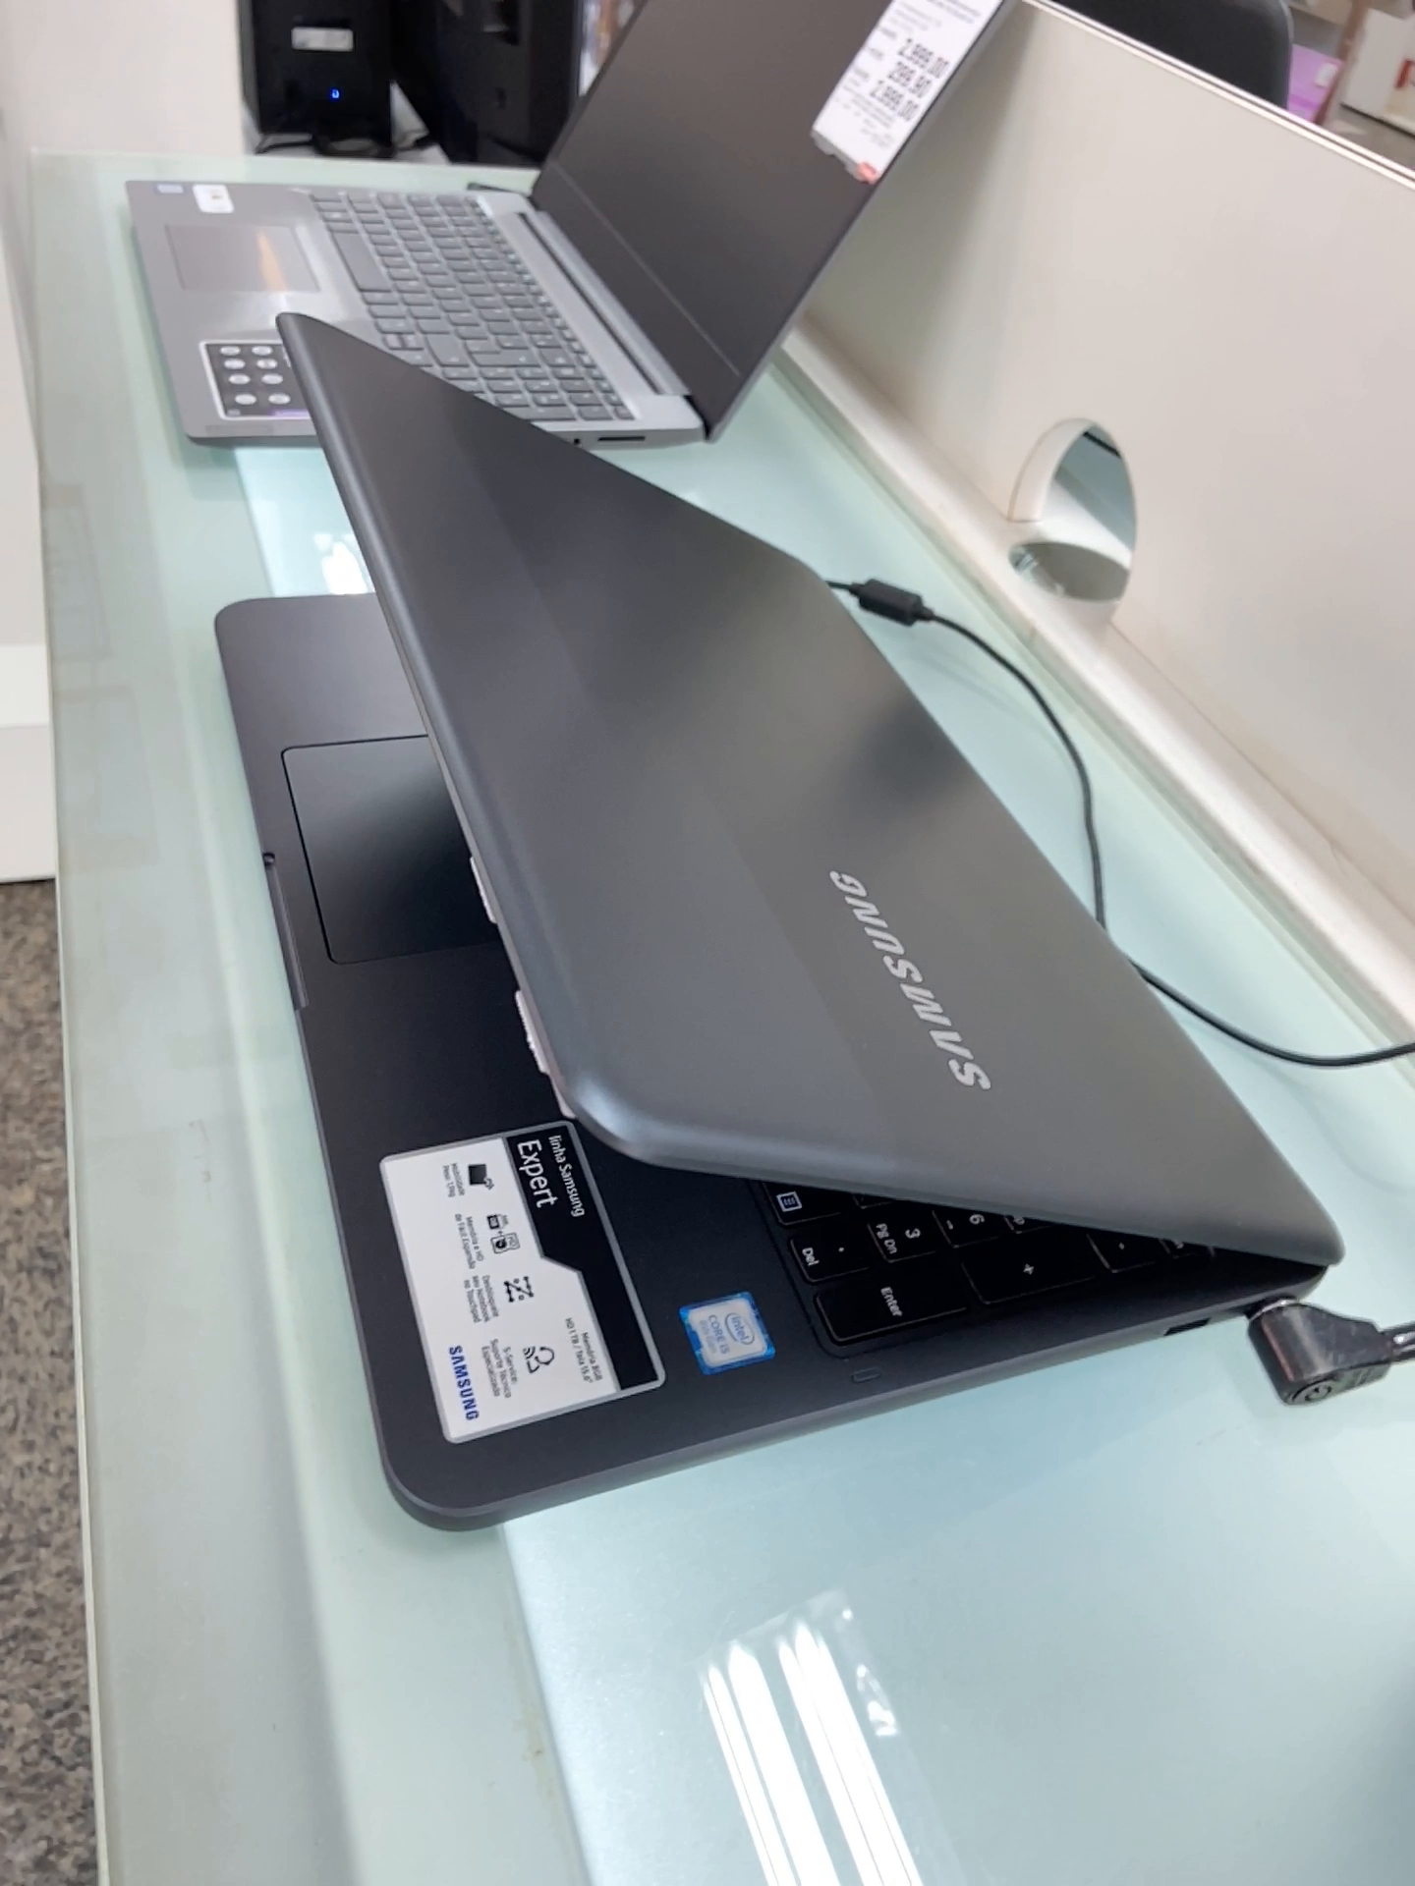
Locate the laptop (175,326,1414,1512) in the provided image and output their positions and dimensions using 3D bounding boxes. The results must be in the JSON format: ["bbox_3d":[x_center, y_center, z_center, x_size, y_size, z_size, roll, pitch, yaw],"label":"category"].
[{"bbox_3d":[-0.011,-0.061,0.434,0.233,0.101,0.378,-9,44,-19],"label":"laptop"}]
